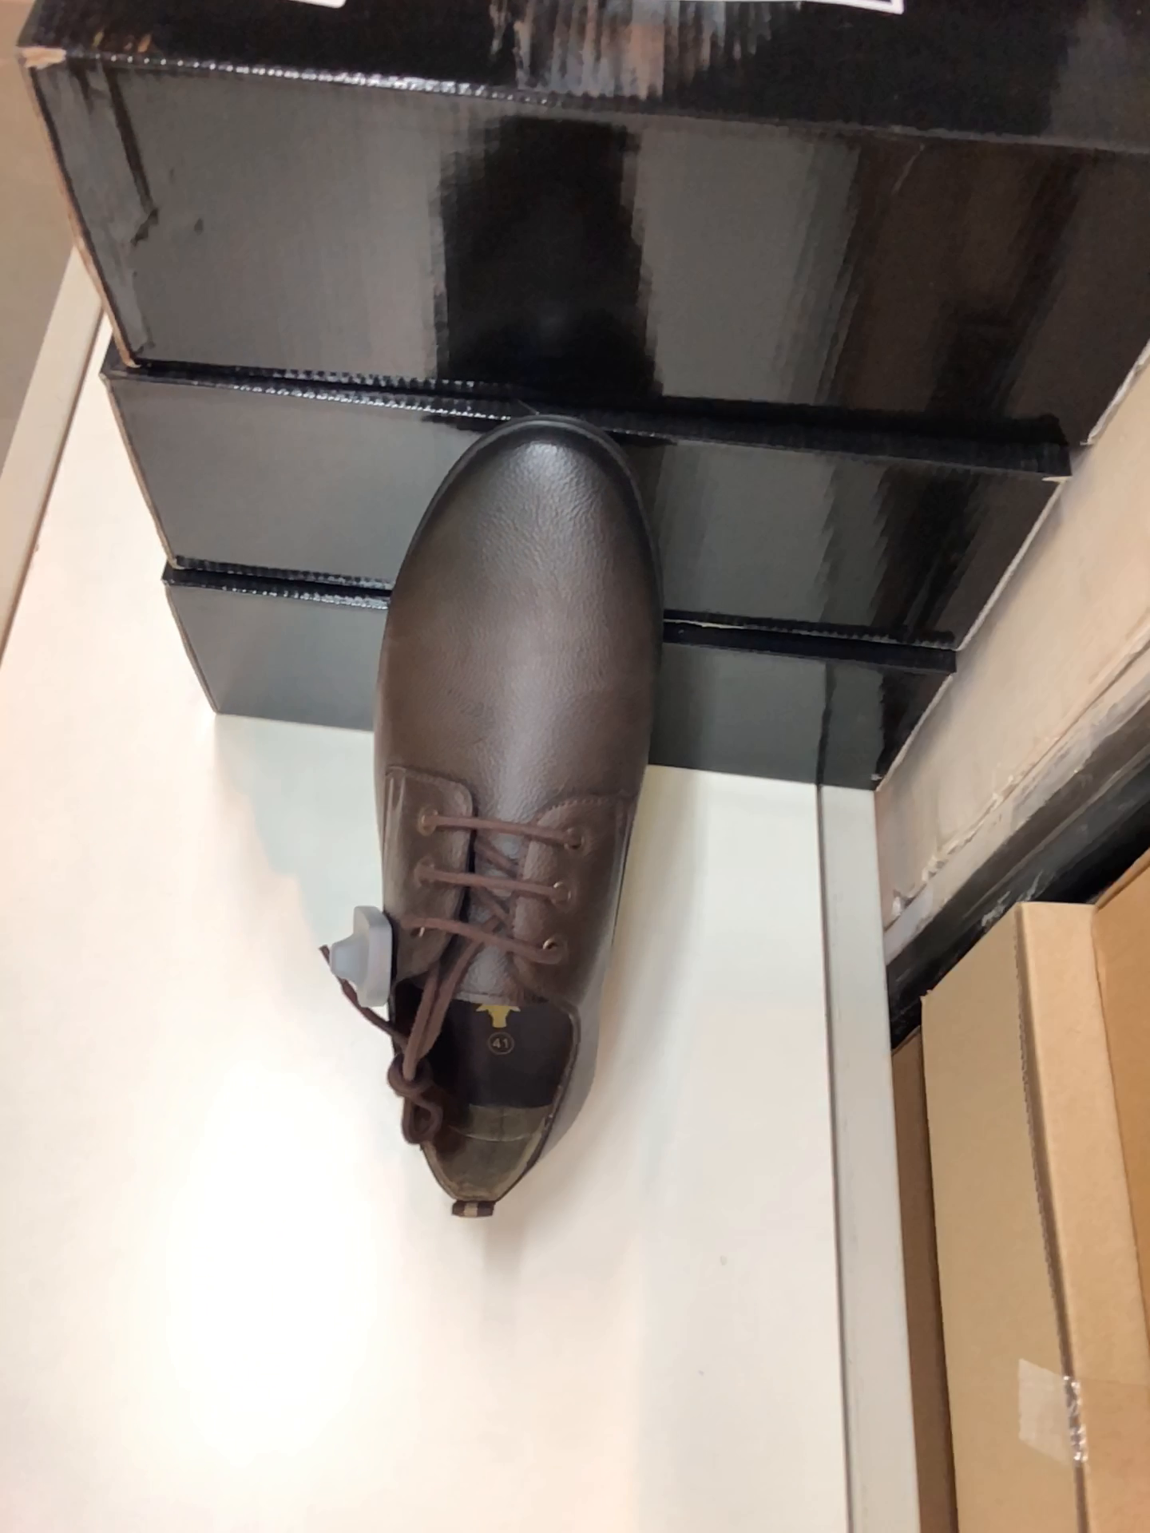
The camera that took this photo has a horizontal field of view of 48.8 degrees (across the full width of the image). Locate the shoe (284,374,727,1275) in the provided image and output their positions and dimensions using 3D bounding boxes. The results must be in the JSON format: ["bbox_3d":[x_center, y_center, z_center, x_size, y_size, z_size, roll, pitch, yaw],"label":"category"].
[{"bbox_3d":[-0.023,0.014,0.433,0.111,0.271,0.116,8,19,6],"label":"shoe"}]
